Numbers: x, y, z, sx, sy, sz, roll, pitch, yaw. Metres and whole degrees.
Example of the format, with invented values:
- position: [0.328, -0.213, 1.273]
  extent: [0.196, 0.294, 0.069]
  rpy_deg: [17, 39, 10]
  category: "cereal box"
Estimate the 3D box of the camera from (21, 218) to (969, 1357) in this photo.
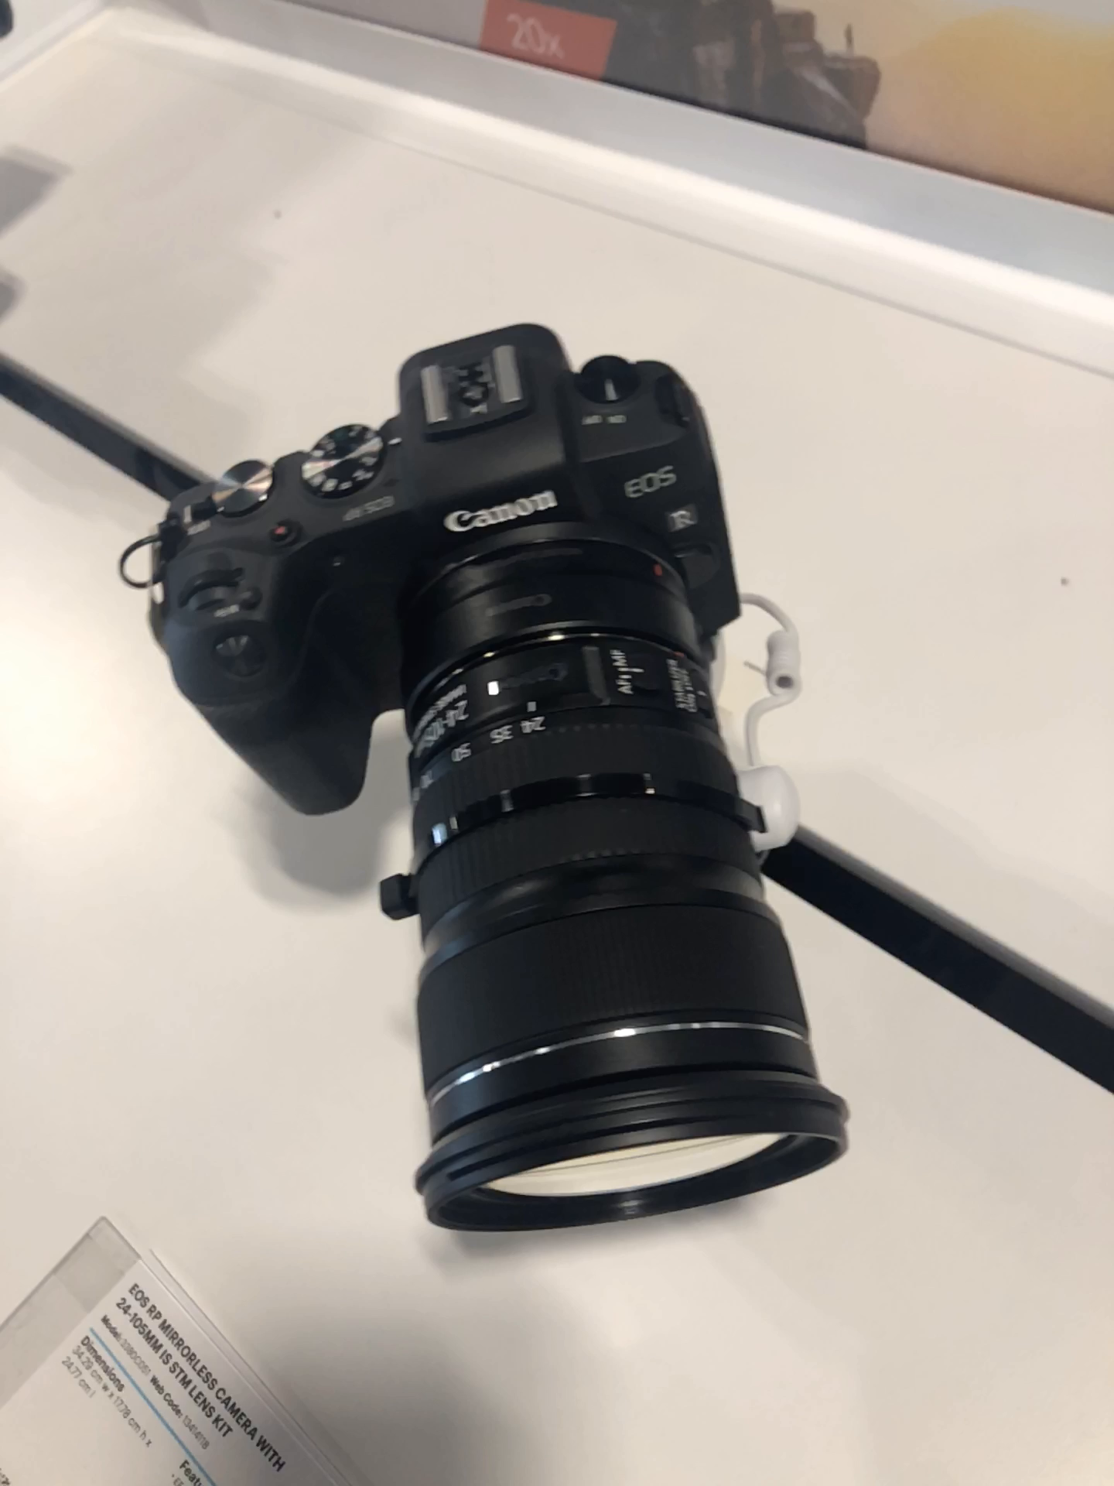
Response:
- position: [-0.017, 0.005, 0.259]
  extent: [0.136, 0.090, 0.191]
  rpy_deg: [-15, 57, 5]
  category: "camera"
